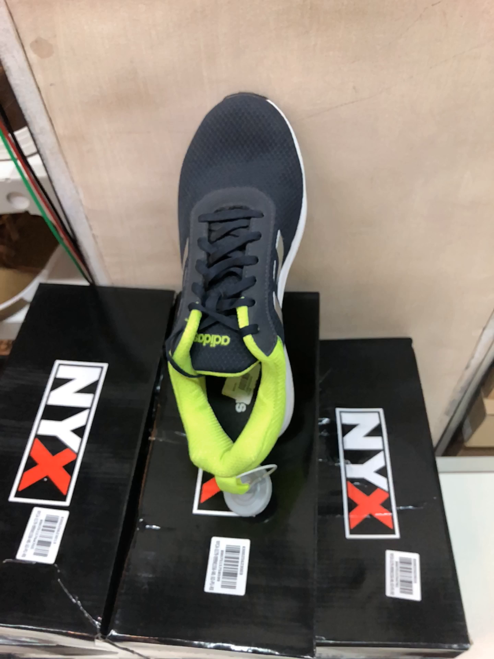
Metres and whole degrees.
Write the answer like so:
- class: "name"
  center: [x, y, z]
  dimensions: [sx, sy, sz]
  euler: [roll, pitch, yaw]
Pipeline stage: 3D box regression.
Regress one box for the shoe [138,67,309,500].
- class: "shoe"
  center: [-0.010, -0.030, 0.402]
  dimensions: [0.104, 0.098, 0.272]
  euler: [0, 89, 10]
